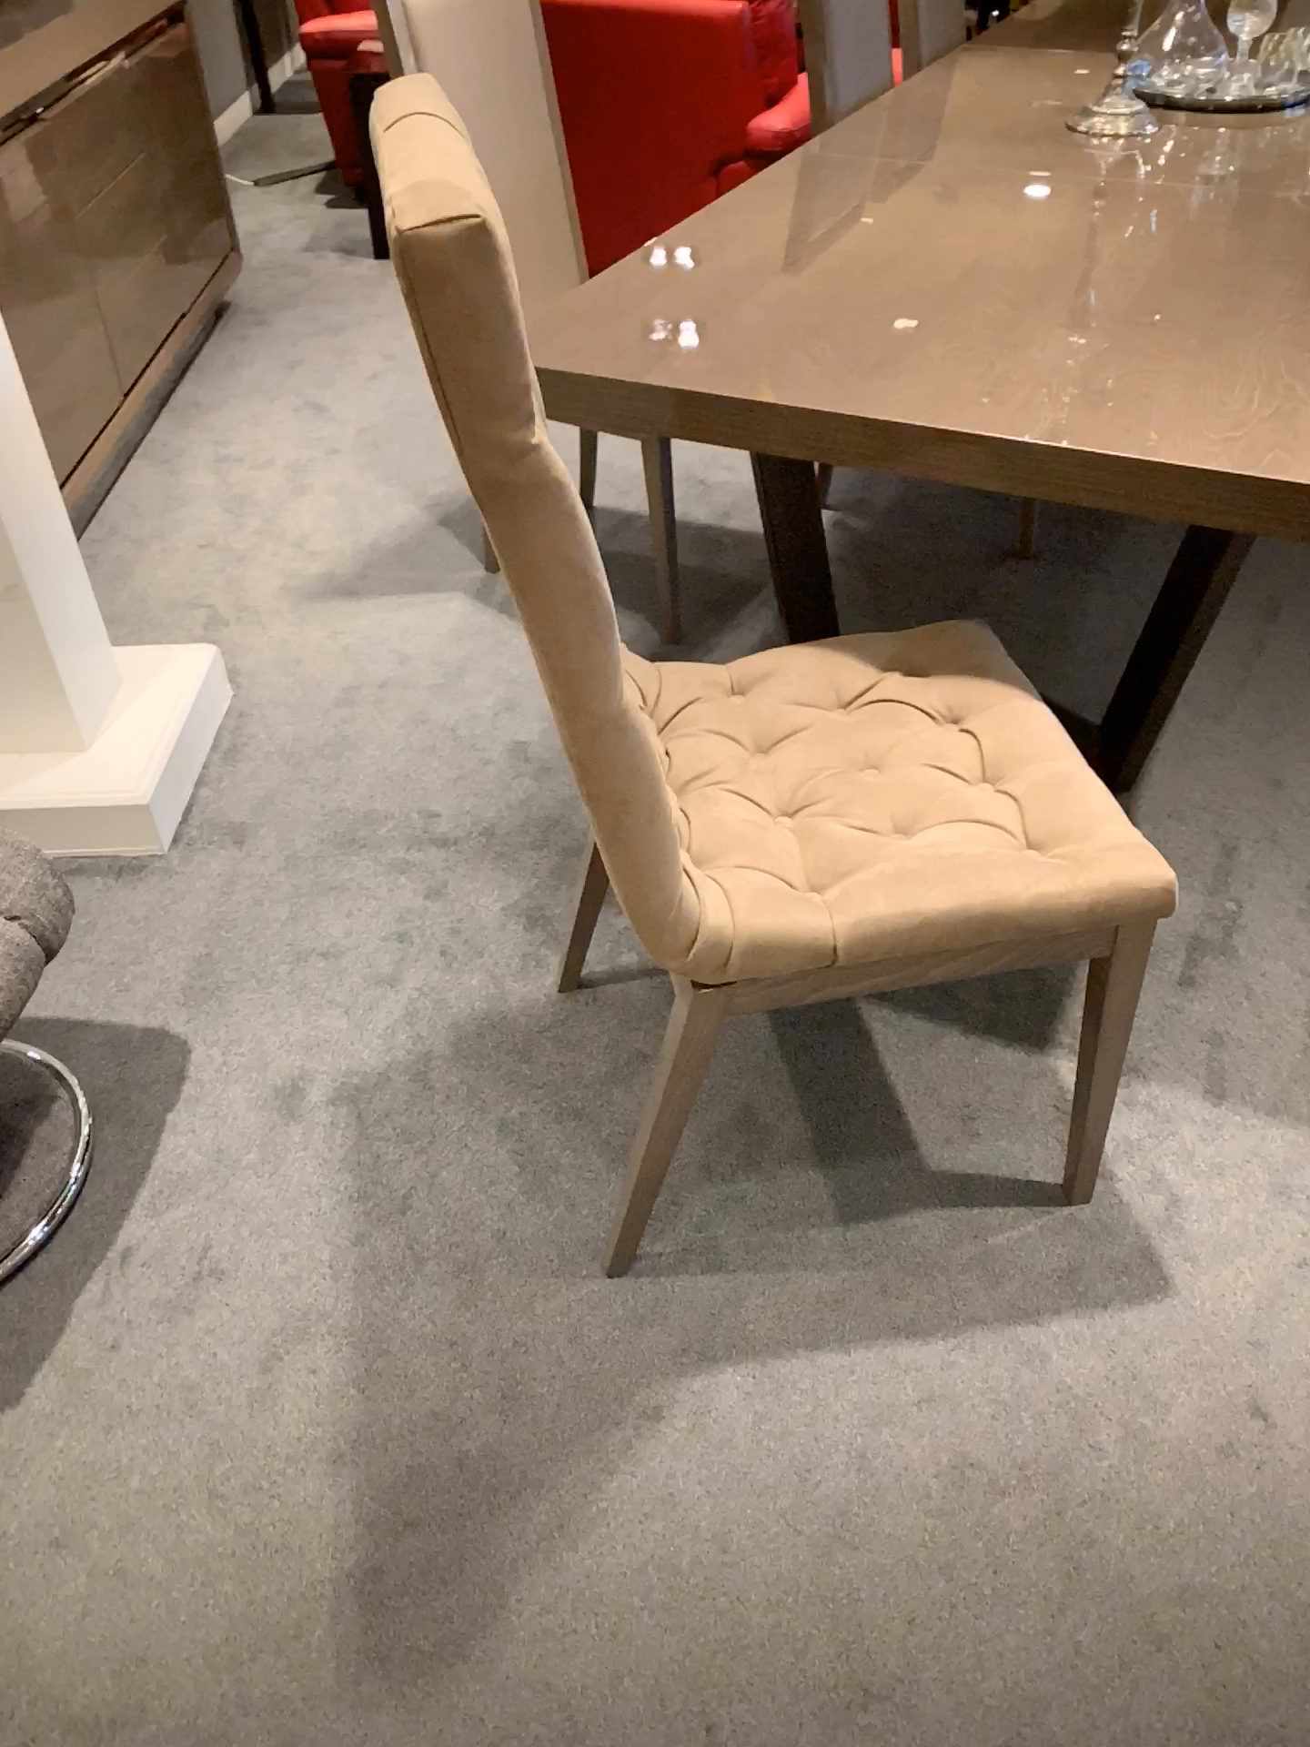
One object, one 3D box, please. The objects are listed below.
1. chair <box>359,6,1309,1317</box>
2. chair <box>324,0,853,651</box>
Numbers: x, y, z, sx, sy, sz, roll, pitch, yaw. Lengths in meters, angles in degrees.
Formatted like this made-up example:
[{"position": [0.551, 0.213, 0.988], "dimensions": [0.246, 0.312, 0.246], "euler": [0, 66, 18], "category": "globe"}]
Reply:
[{"position": [0.136, -0.159, 1.256], "dimensions": [0.636, 1.021, 0.528], "euler": [-9, 40, -8], "category": "chair"}, {"position": [-0.089, -1.054, 2.399], "dimensions": [0.638, 1.021, 0.526], "euler": [26, 47, 29], "category": "chair"}]
